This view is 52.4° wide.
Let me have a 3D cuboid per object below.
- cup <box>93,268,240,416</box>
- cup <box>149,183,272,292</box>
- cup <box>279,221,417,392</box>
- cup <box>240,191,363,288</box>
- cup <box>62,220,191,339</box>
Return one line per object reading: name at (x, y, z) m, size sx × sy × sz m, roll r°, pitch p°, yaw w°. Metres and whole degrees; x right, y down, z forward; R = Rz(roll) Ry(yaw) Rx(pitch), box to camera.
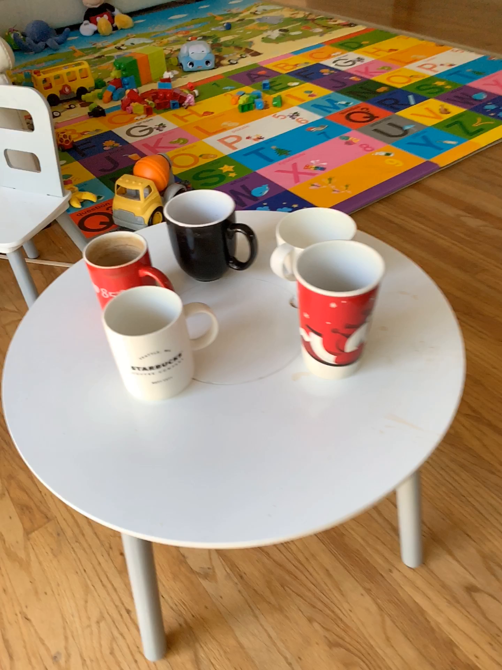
cup at (-0.091, 0.007, 0.564) m, size 0.130 × 0.100 × 0.090 m, roll -15°, pitch 46°, yaw -11°
cup at (-0.052, -0.134, 0.689) m, size 0.130 × 0.080 × 0.090 m, roll 23°, pitch 50°, yaw 25°
cup at (0.100, -0.034, 0.577) m, size 0.100 × 0.119 × 0.131 m, roll -13°, pitch 45°, yaw -9°
cup at (0.064, -0.125, 0.646) m, size 0.100 × 0.040 × 0.120 m, roll 30°, pitch 54°, yaw 30°
cup at (-0.154, -0.072, 0.646) m, size 0.120 × 0.090 × 0.080 m, roll 23°, pitch 50°, yaw 25°
